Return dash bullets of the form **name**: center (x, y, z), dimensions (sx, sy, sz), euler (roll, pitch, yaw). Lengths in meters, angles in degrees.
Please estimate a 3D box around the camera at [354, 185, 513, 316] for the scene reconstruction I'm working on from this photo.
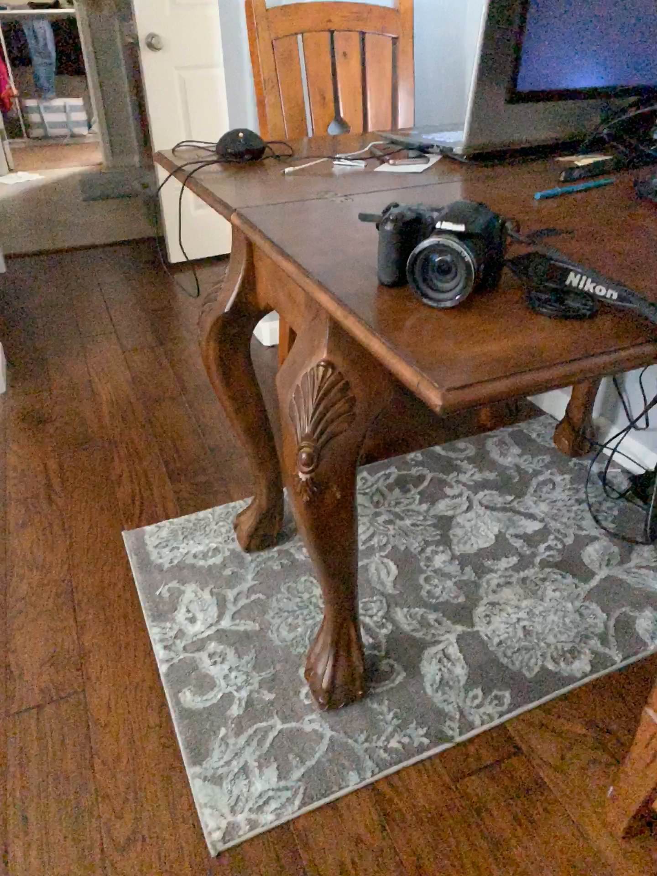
- **camera**: center (0.093, -0.172, 0.605), dimensions (0.110, 0.079, 0.091), euler (16, 36, 25)
